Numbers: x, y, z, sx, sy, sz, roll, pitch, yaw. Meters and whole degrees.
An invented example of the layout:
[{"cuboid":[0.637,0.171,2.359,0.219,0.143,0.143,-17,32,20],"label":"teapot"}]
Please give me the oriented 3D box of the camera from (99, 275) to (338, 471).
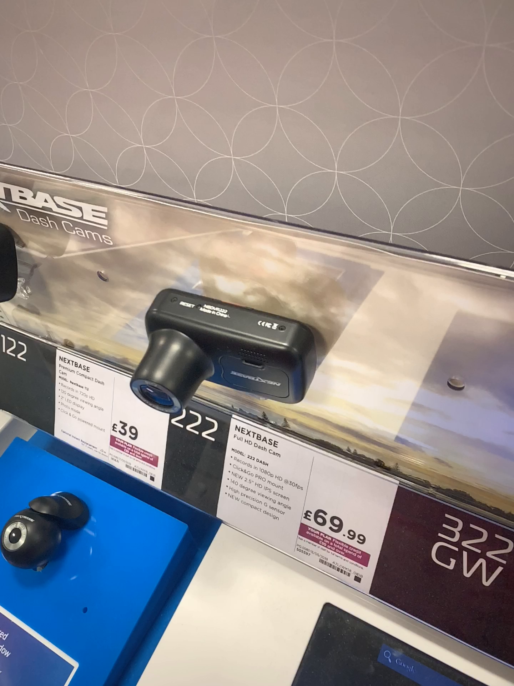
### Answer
[{"cuboid":[-0.015,0.011,0.240,0.090,0.040,0.050,18,54,23],"label":"camera"}]
